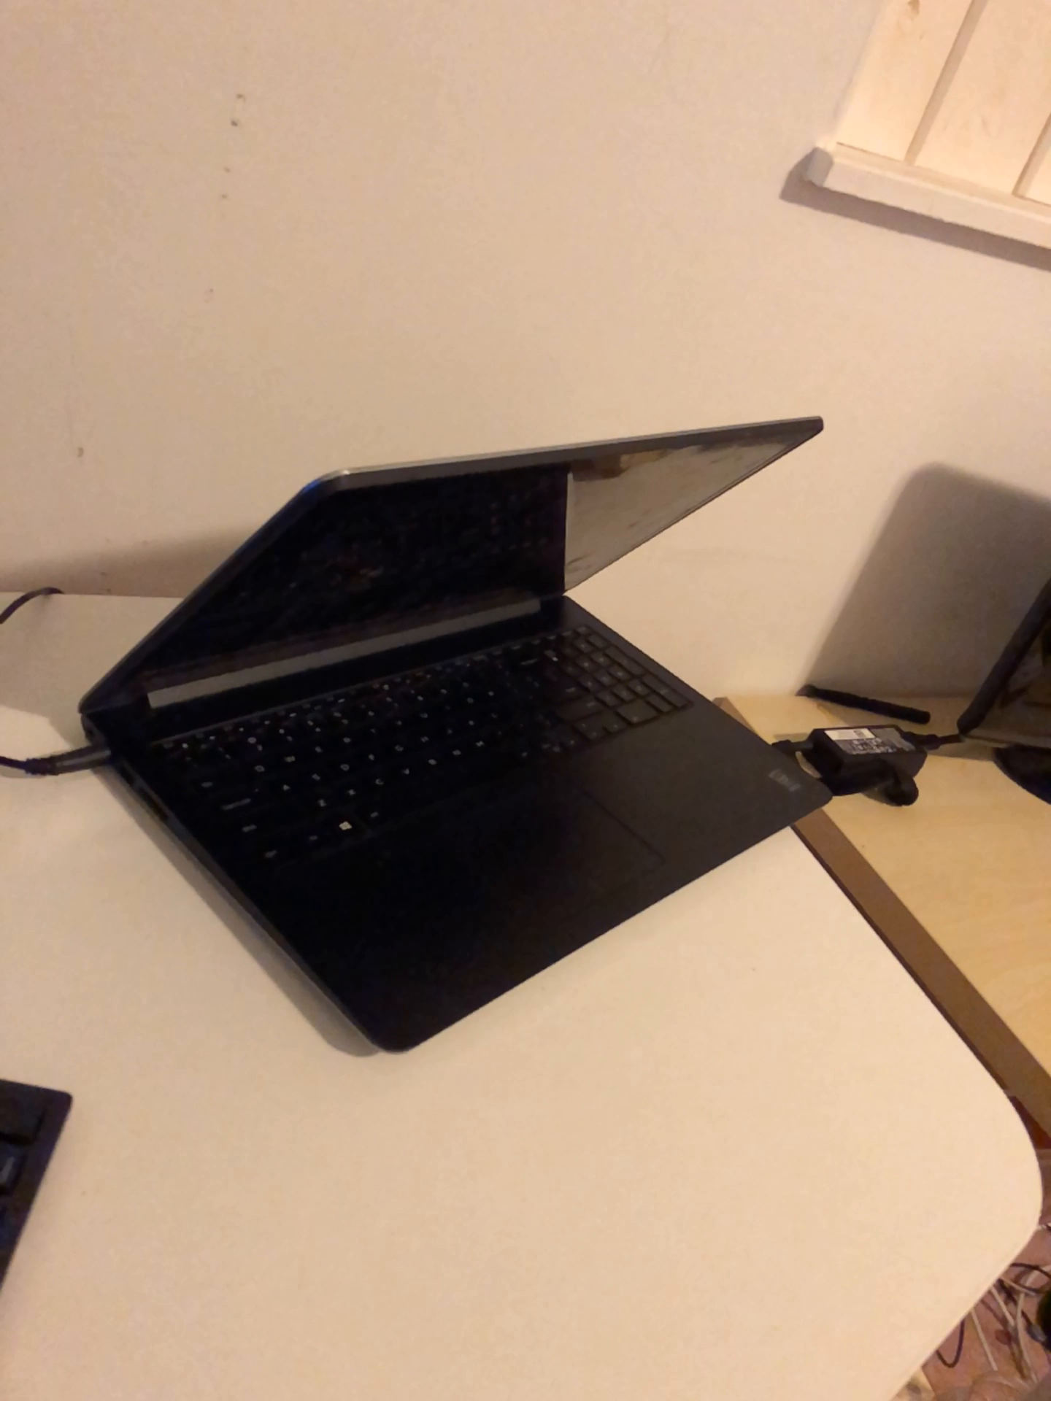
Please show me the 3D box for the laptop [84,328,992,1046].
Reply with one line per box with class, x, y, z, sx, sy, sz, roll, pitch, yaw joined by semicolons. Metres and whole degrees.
laptop;0.012;-0.049;0.619;0.374;0.207;0.251;-18;48;-44
